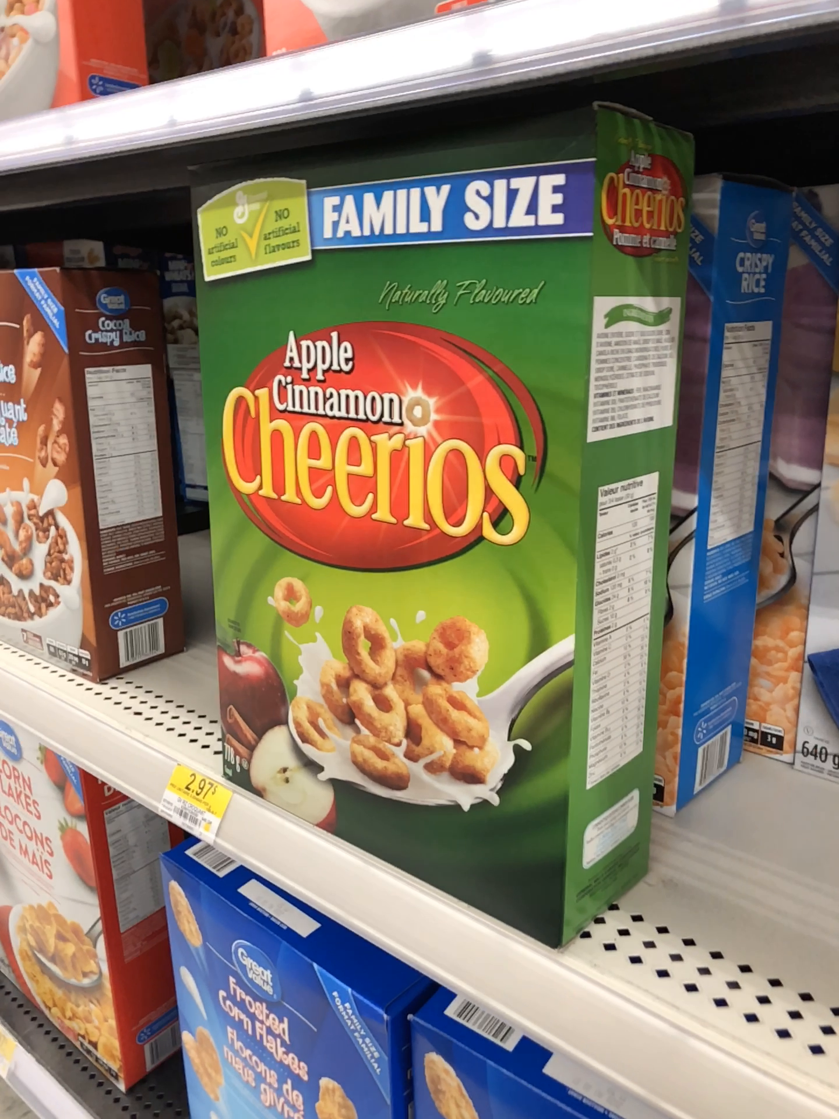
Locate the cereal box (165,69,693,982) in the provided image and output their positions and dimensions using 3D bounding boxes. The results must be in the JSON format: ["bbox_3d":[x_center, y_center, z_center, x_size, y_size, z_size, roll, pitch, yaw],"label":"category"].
[{"bbox_3d":[-0.007,-0.021,0.464,0.241,0.358,0.090,13,20,41],"label":"cereal box"}]
